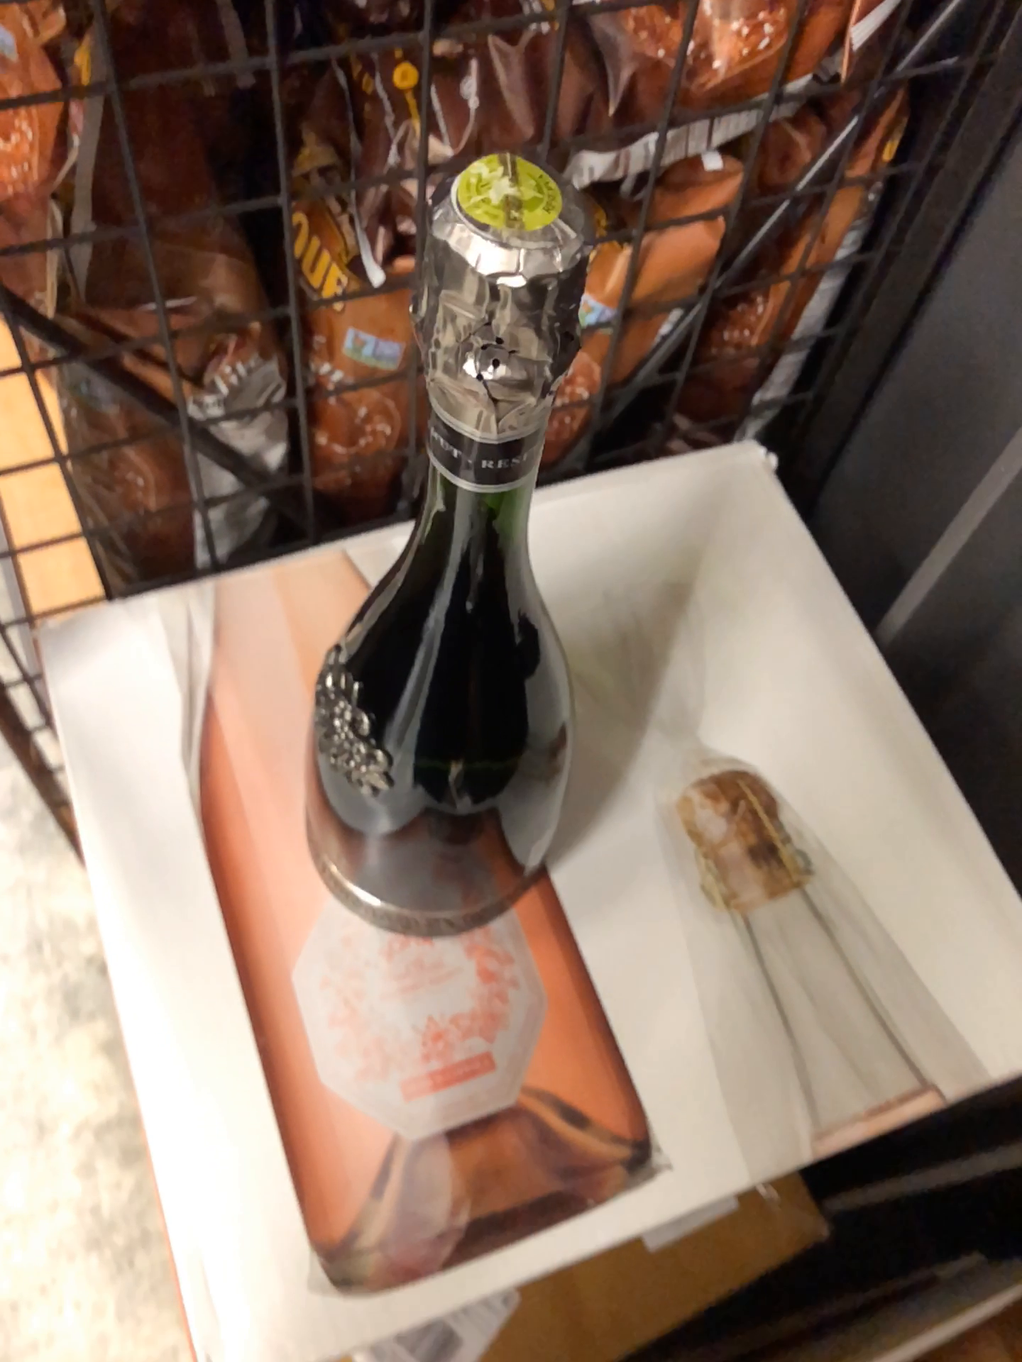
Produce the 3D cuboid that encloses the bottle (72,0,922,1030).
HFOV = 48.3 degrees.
[{"bbox_3d":[-0.022,-0.013,0.354,0.110,0.333,0.122,-26,66,-20],"label":"bottle"}]
